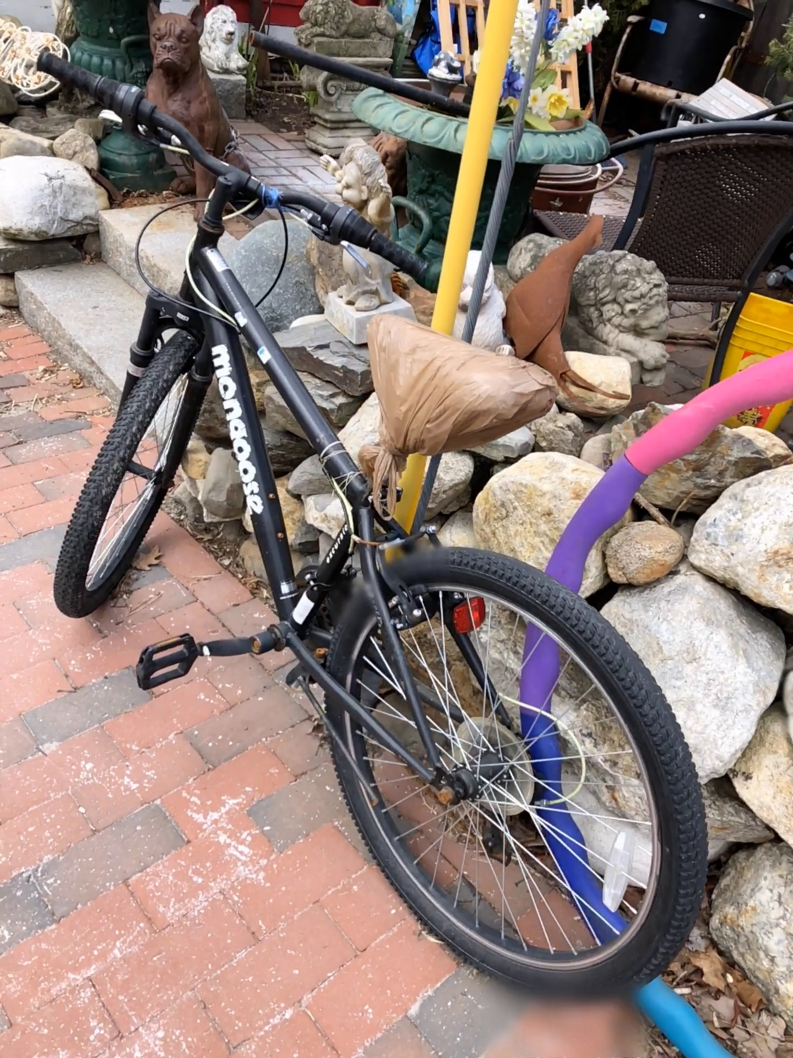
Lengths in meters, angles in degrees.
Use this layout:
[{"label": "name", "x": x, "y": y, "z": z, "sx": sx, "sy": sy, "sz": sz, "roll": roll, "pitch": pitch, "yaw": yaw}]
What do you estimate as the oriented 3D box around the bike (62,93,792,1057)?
[{"label": "bike", "x": 0.005, "y": -0.050, "z": 1.375, "sx": 0.634, "sy": 0.873, "sz": 1.413, "roll": -16, "pitch": 44, "yaw": -32}]
